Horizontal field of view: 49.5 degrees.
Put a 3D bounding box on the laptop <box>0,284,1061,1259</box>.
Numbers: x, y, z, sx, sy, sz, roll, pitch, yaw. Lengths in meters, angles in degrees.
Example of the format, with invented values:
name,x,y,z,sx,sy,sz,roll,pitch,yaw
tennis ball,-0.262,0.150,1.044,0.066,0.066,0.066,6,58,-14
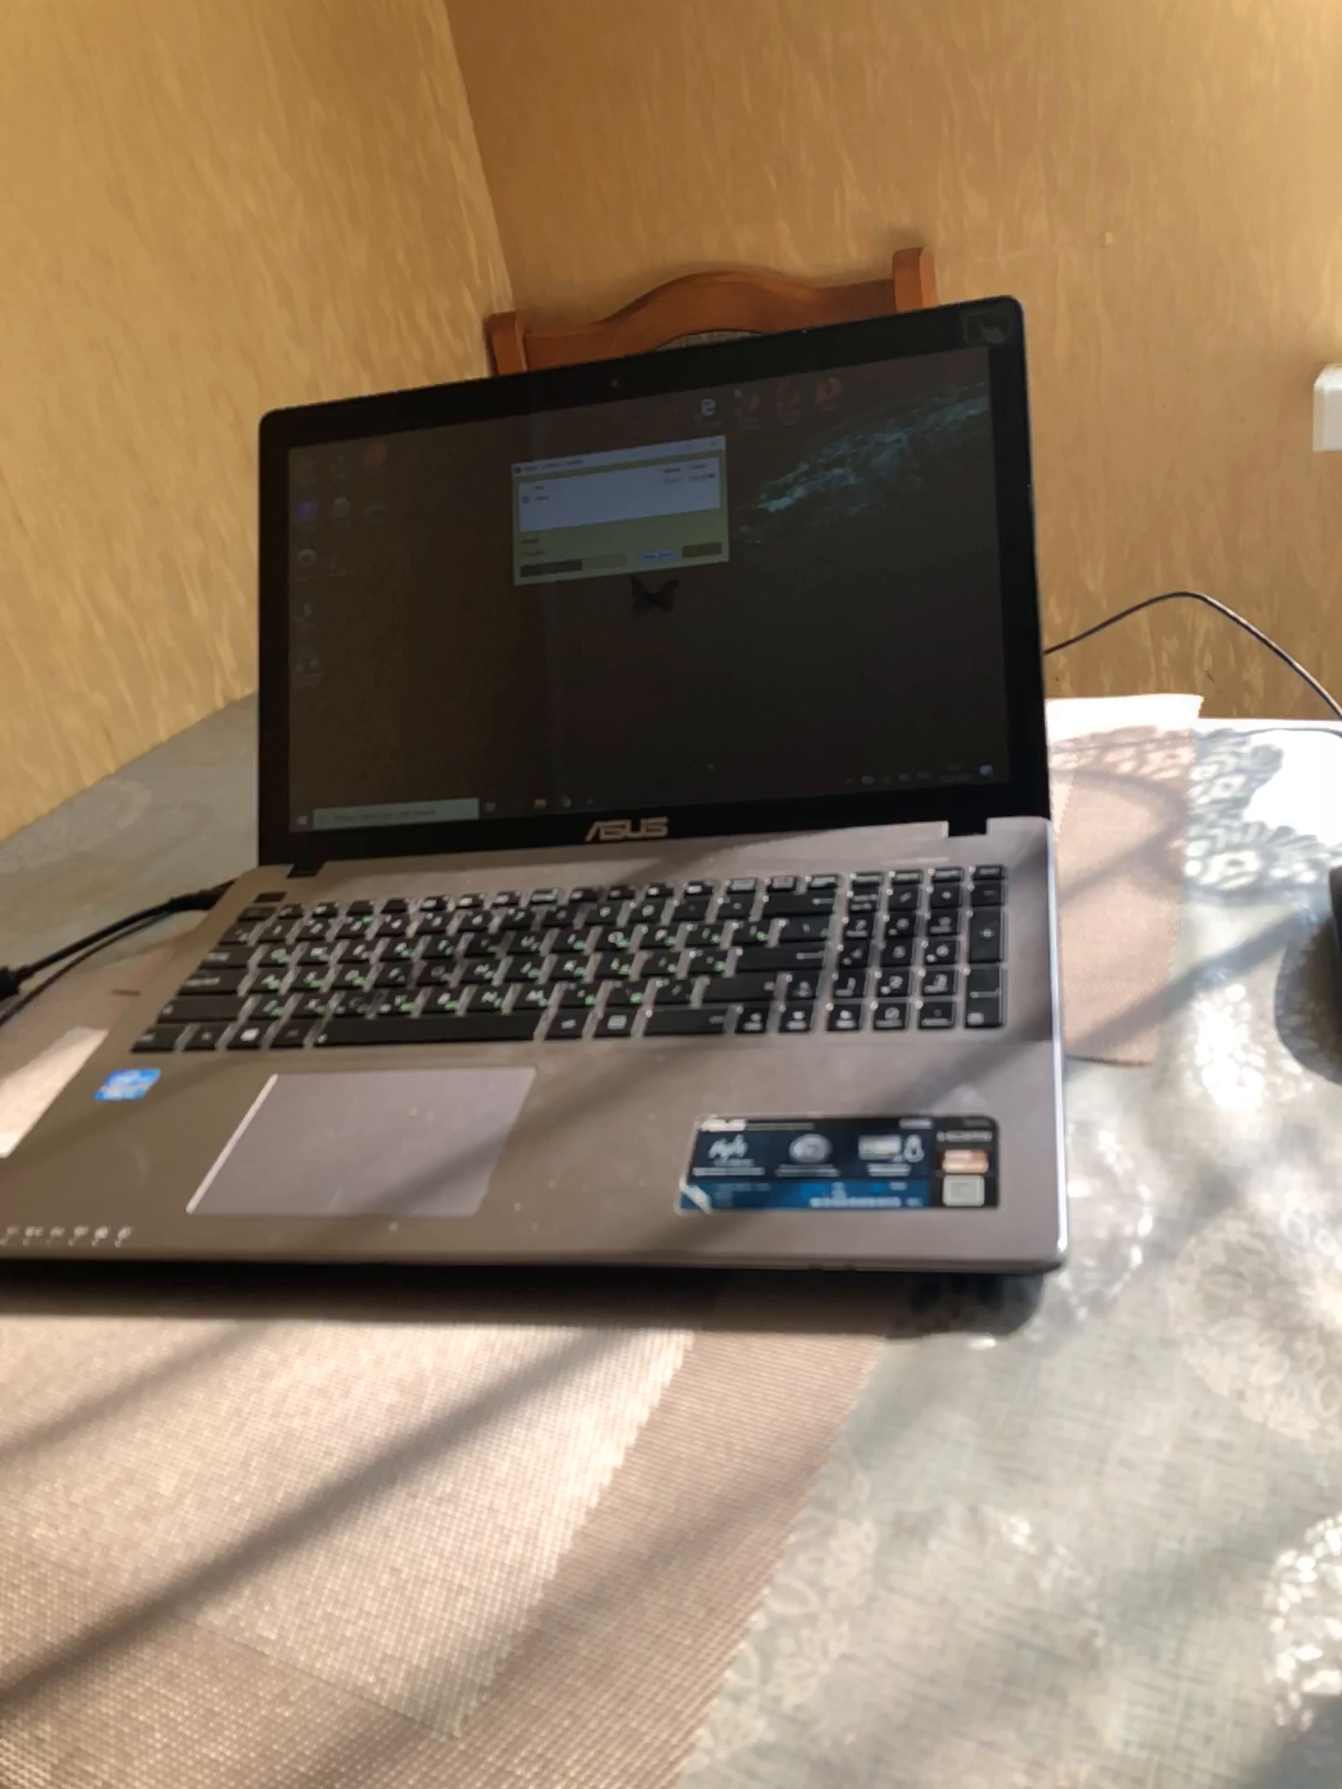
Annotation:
name,x,y,z,sx,sy,sz,roll,pitch,yaw
laptop,-0.050,-0.075,0.578,0.378,0.183,0.399,-3,31,16
